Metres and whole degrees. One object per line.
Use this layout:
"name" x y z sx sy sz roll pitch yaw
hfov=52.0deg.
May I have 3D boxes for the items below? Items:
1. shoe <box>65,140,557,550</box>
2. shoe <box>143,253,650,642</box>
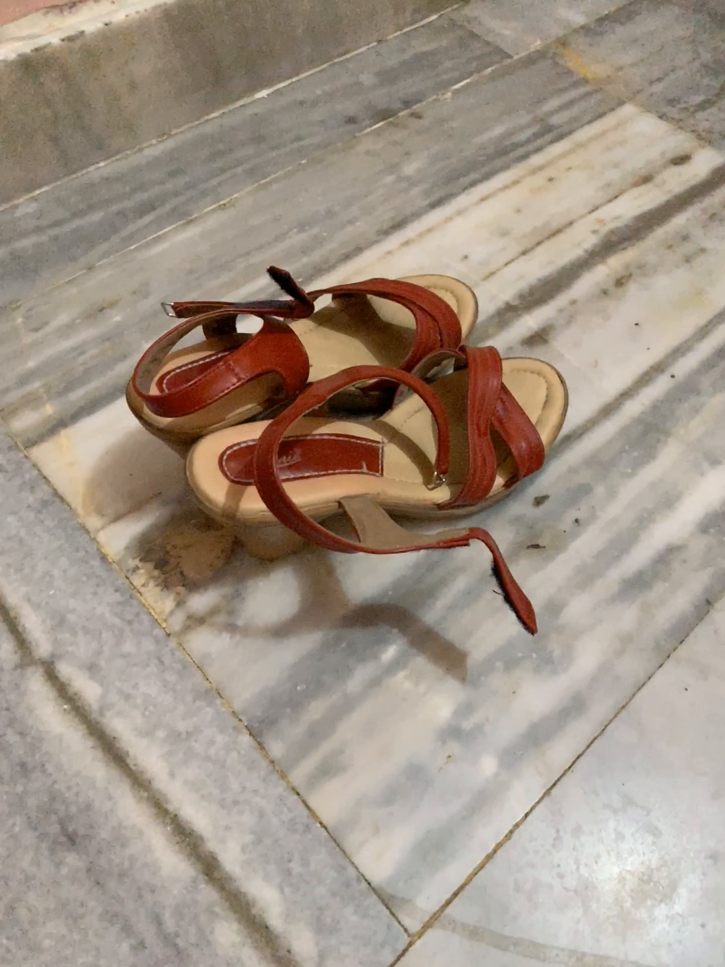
"shoe" -0.021 -0.085 0.424 0.240 0.100 0.100 -33 64 -22
"shoe" 0.019 -0.024 0.419 0.240 0.100 0.100 -24 61 -17
